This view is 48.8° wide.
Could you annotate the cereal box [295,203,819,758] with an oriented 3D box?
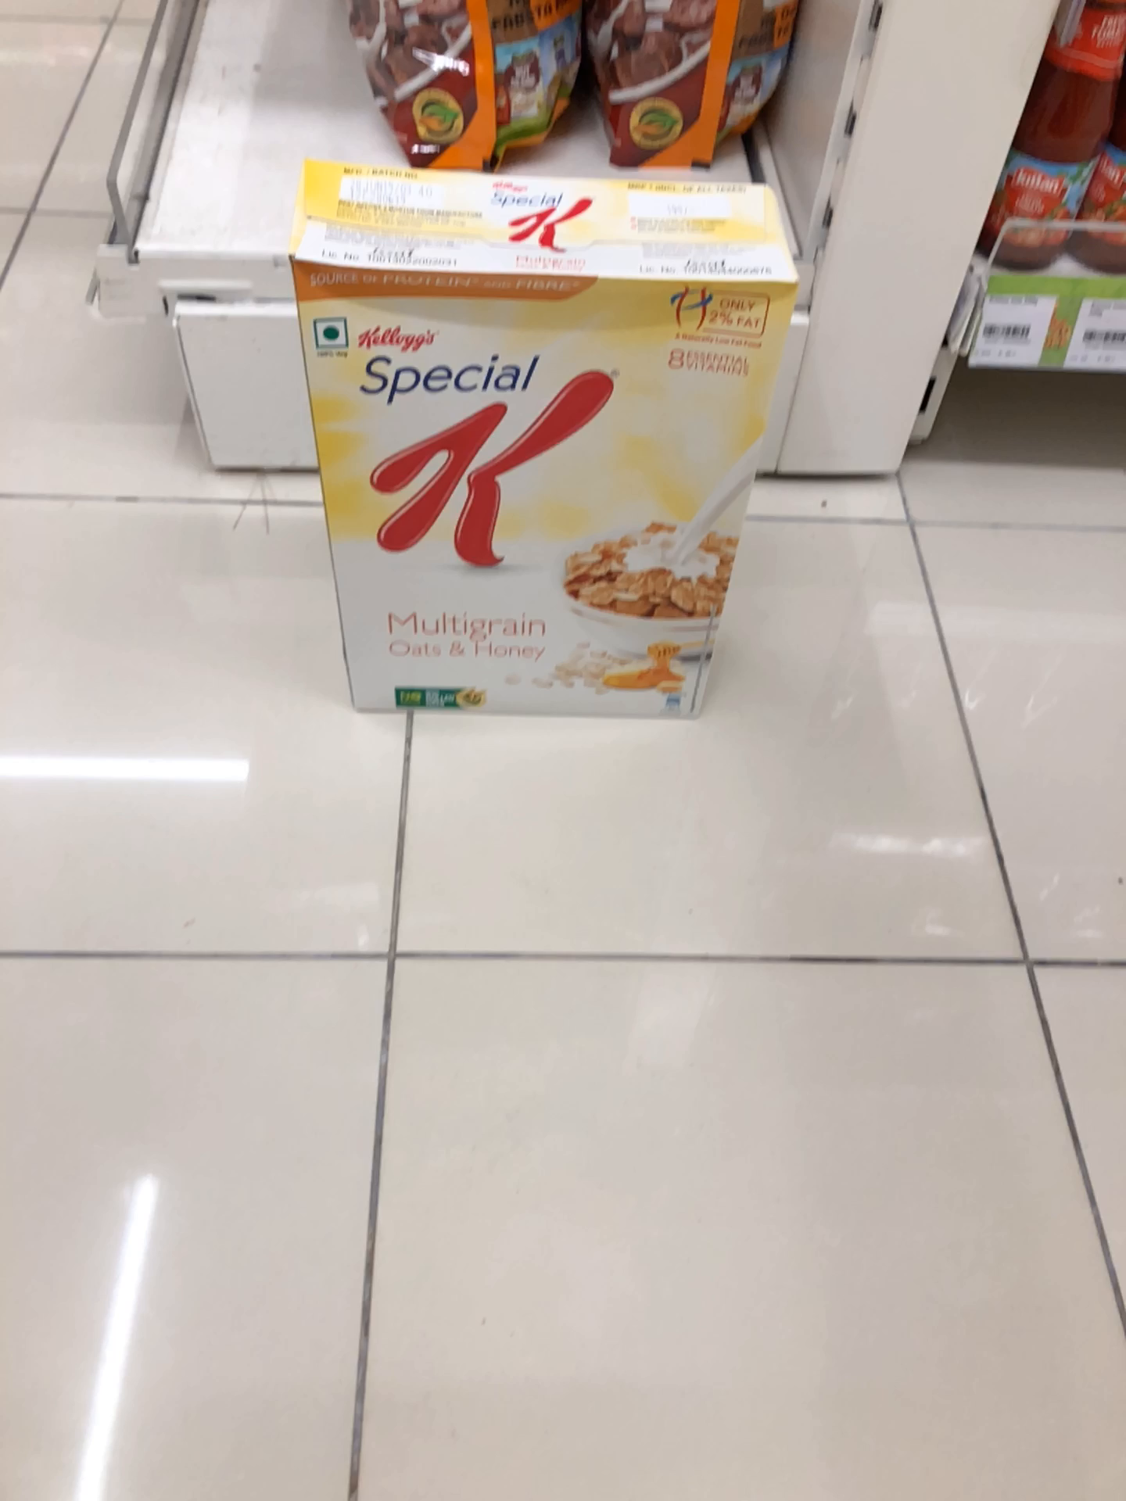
[{"bbox_3d":[-0.009,-0.106,0.578,0.190,0.268,0.070,-1,53,-4],"label":"cereal box"}]
